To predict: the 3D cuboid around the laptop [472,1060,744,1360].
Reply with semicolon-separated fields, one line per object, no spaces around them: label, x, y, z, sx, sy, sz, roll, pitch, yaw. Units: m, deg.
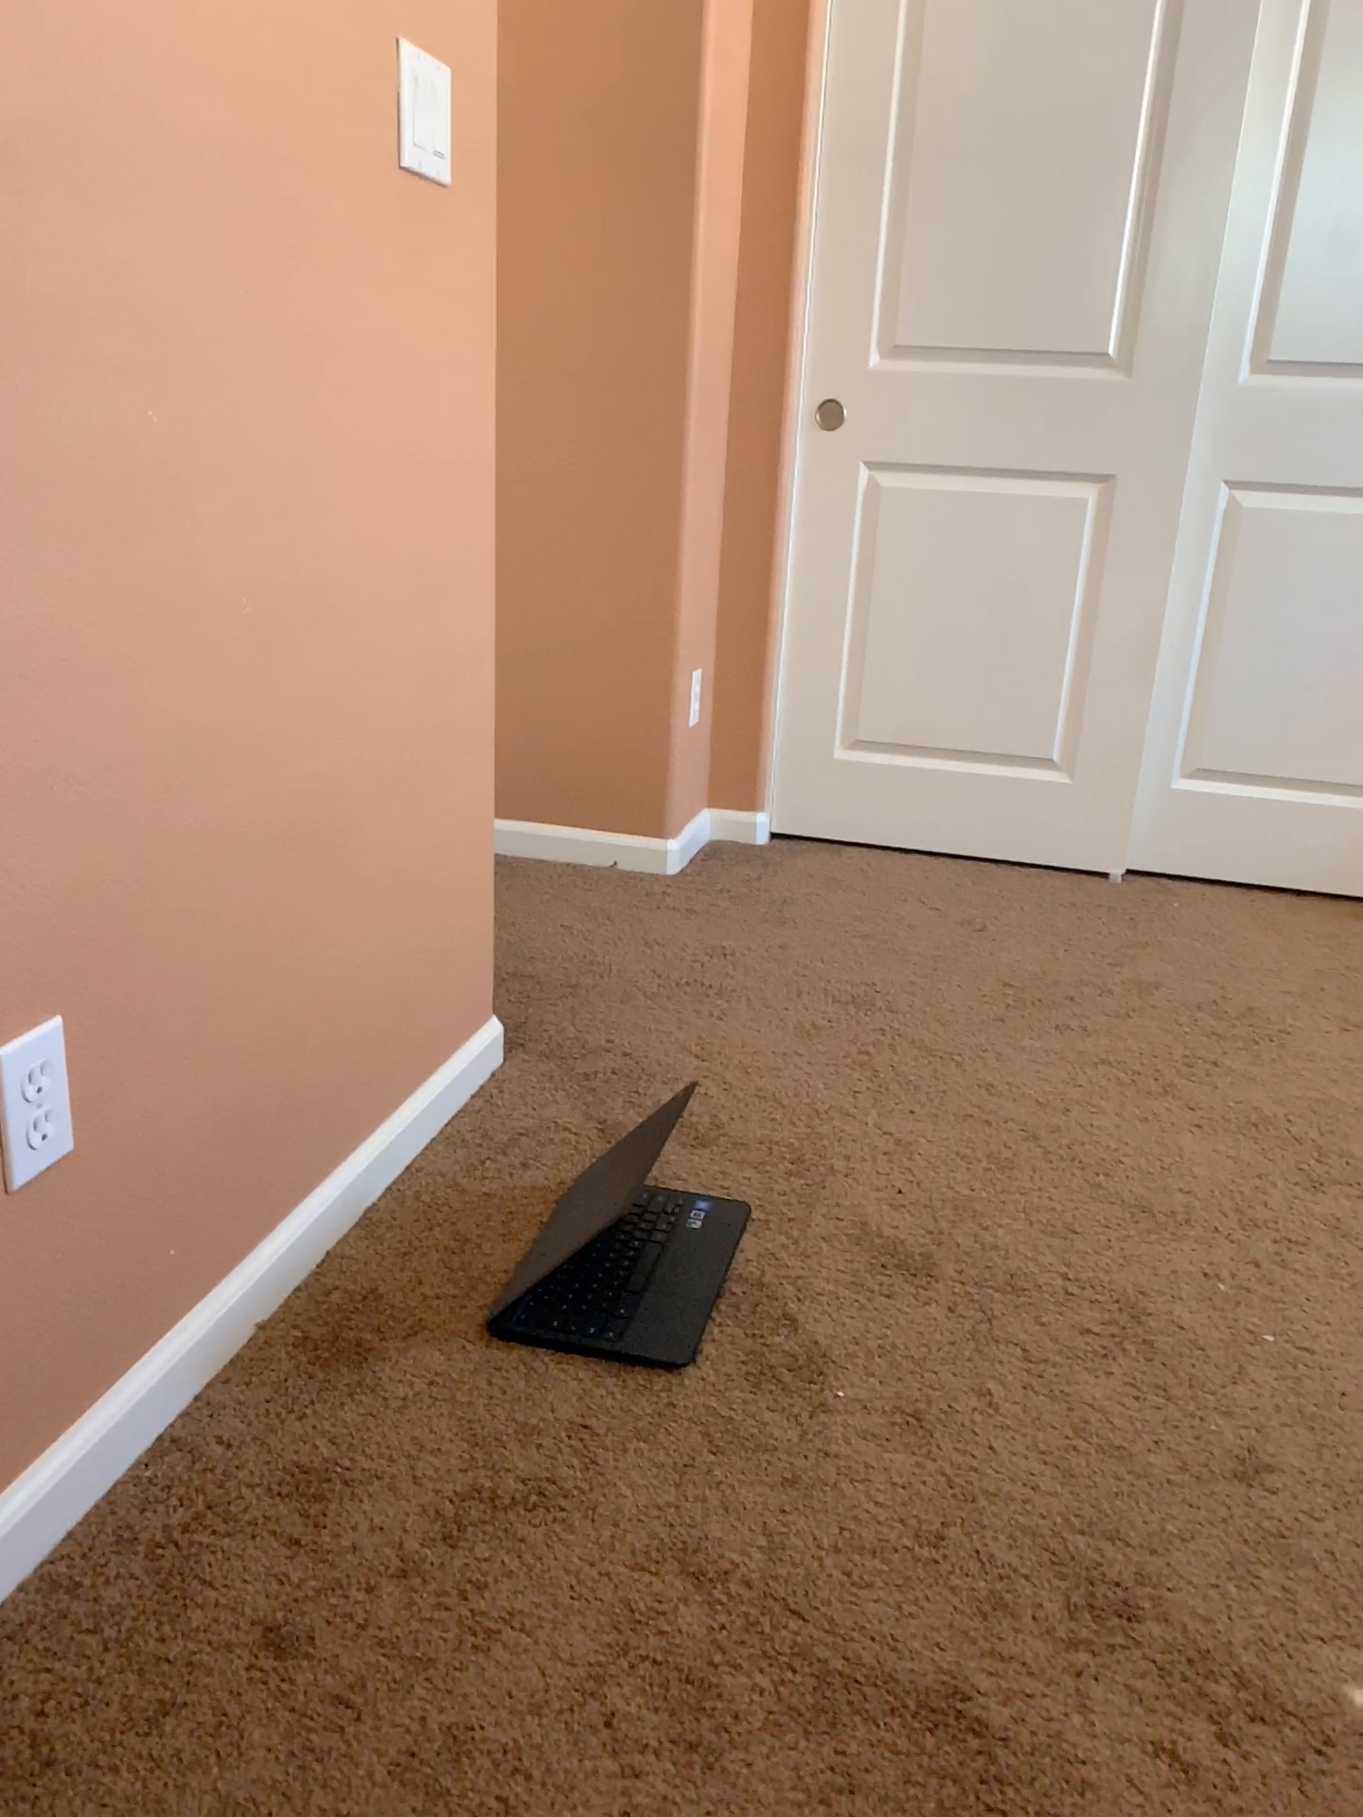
laptop;-0.065;0.292;1.411;0.191;0.140;0.293;9;19;12
